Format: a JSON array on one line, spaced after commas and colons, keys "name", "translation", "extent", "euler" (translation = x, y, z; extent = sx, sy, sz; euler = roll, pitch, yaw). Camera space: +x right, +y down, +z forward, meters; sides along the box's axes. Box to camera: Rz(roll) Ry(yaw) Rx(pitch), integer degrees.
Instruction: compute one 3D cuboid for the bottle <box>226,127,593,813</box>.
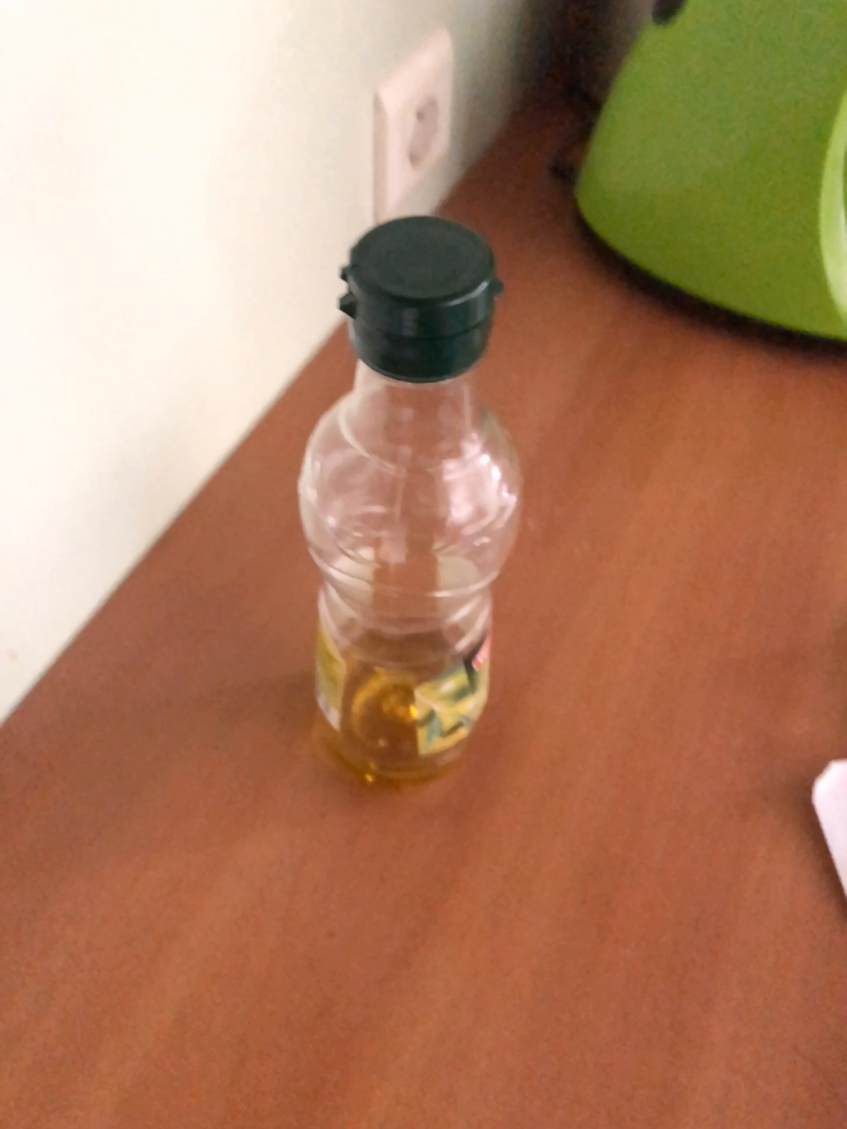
[{"name": "bottle", "translation": [-0.005, -0.004, 0.307], "extent": [0.070, 0.239, 0.070], "euler": [2, 54, -2]}]
